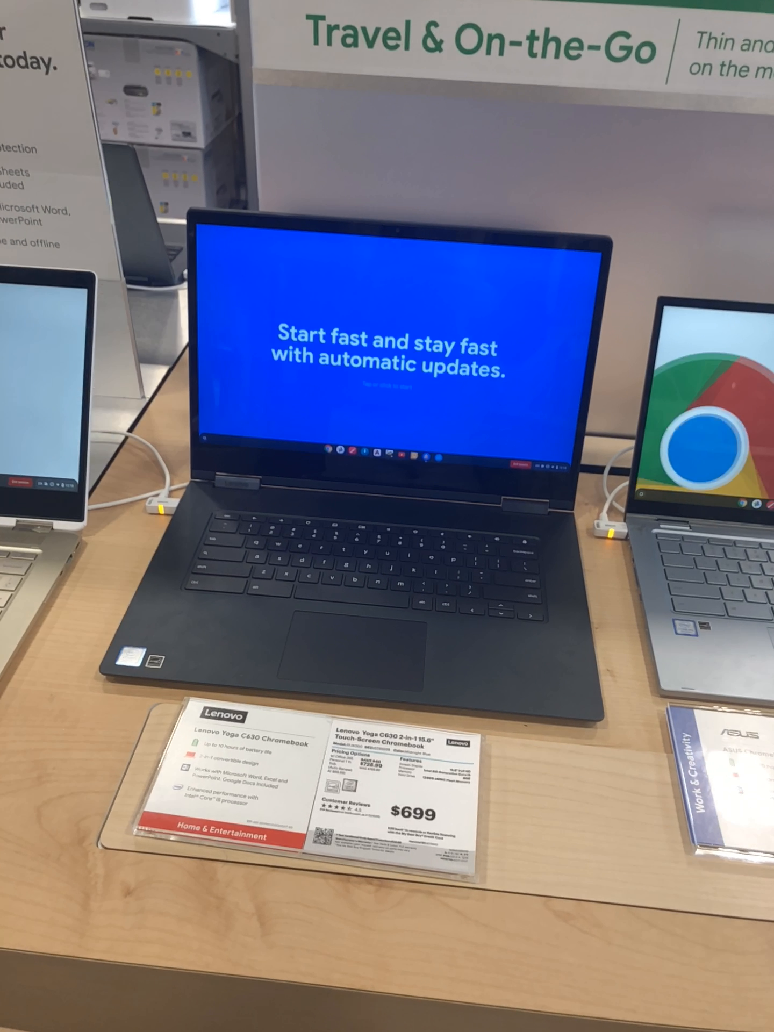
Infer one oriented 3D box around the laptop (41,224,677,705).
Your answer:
[{"bbox_3d":[-0.005,-0.056,0.645,0.343,0.230,0.293,4,35,4],"label":"laptop"}]
